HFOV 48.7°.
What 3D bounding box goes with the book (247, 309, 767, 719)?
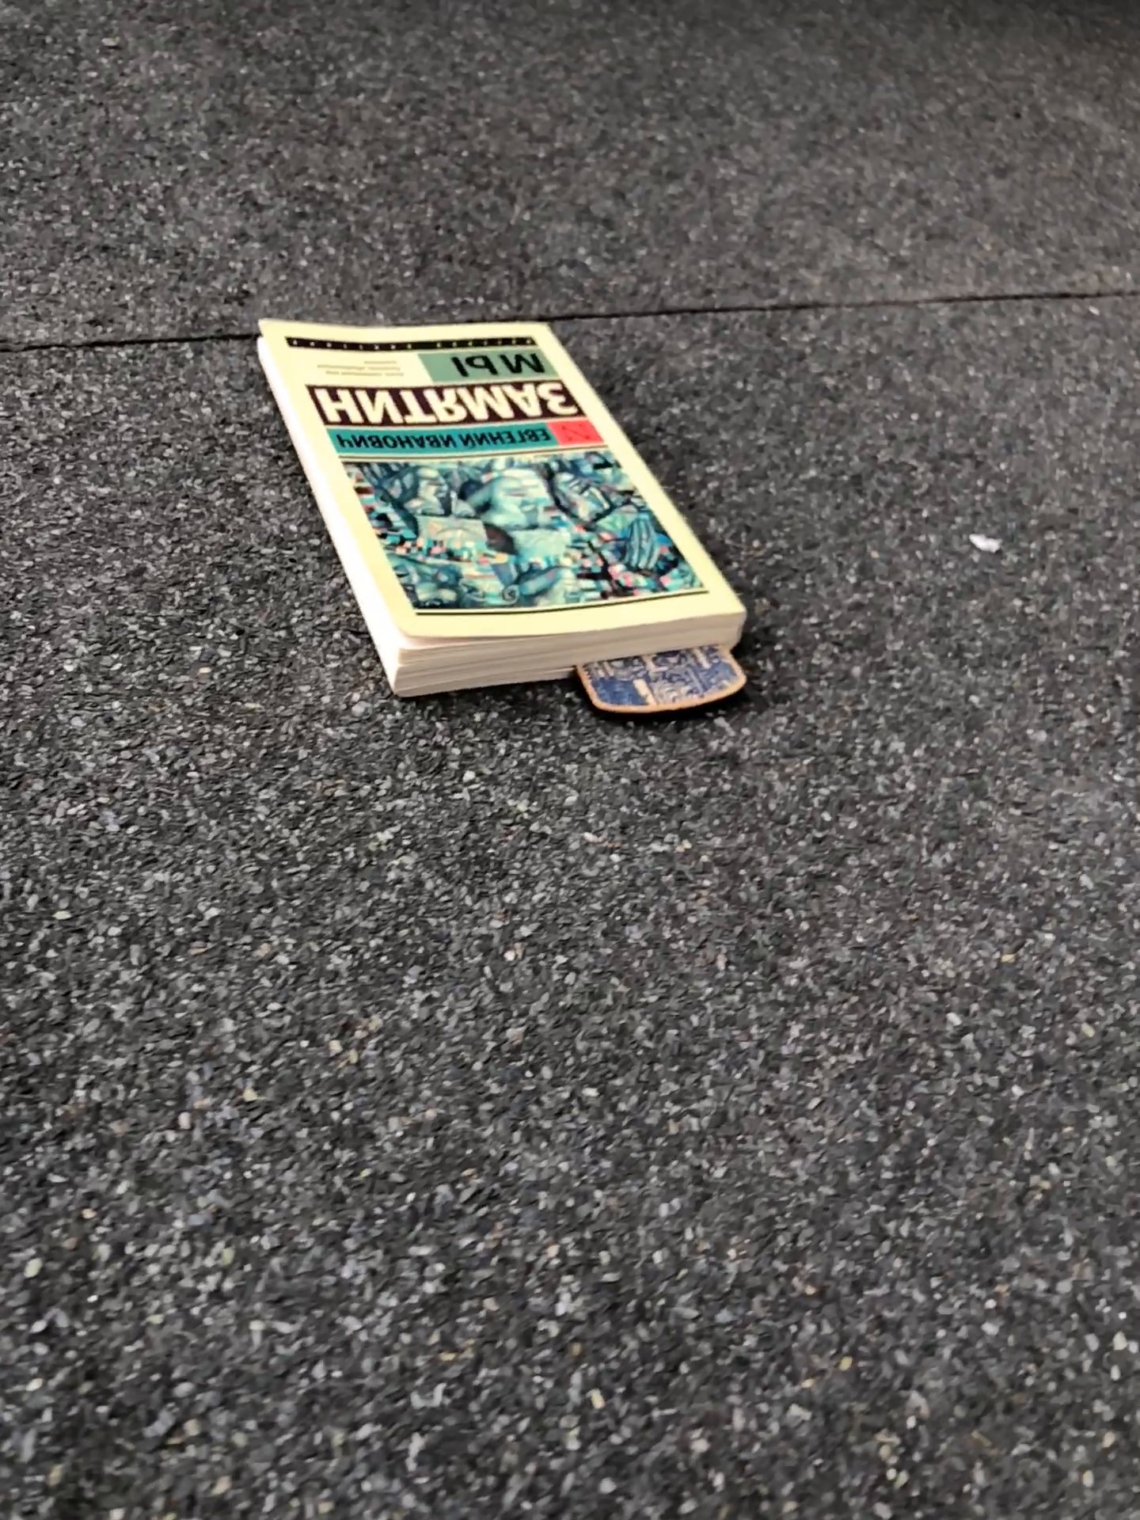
[{"bbox_3d":[-0.030,-0.094,0.426,0.120,0.026,0.182,-9,50,-22],"label":"book"}]
